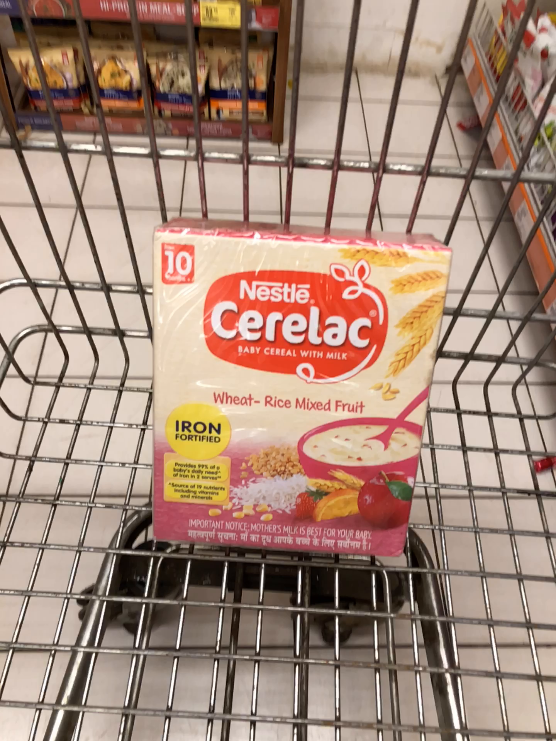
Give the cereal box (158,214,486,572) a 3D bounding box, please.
[{"bbox_3d":[0.015,0.014,0.342,0.150,0.179,0.060,4,21,-1],"label":"cereal box"}]
